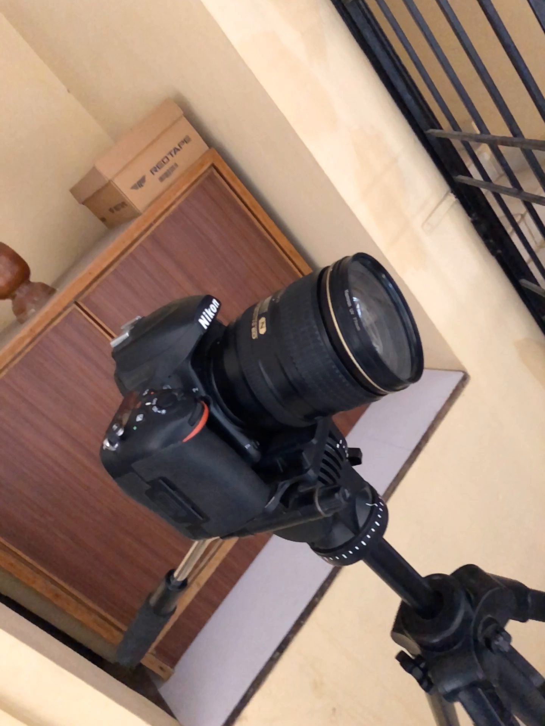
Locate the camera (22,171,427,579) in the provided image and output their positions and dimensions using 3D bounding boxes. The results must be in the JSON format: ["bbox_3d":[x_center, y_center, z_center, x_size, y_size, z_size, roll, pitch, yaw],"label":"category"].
[{"bbox_3d":[-0.016,0.008,0.355,0.171,0.105,0.171,-26,27,34],"label":"camera"}]
